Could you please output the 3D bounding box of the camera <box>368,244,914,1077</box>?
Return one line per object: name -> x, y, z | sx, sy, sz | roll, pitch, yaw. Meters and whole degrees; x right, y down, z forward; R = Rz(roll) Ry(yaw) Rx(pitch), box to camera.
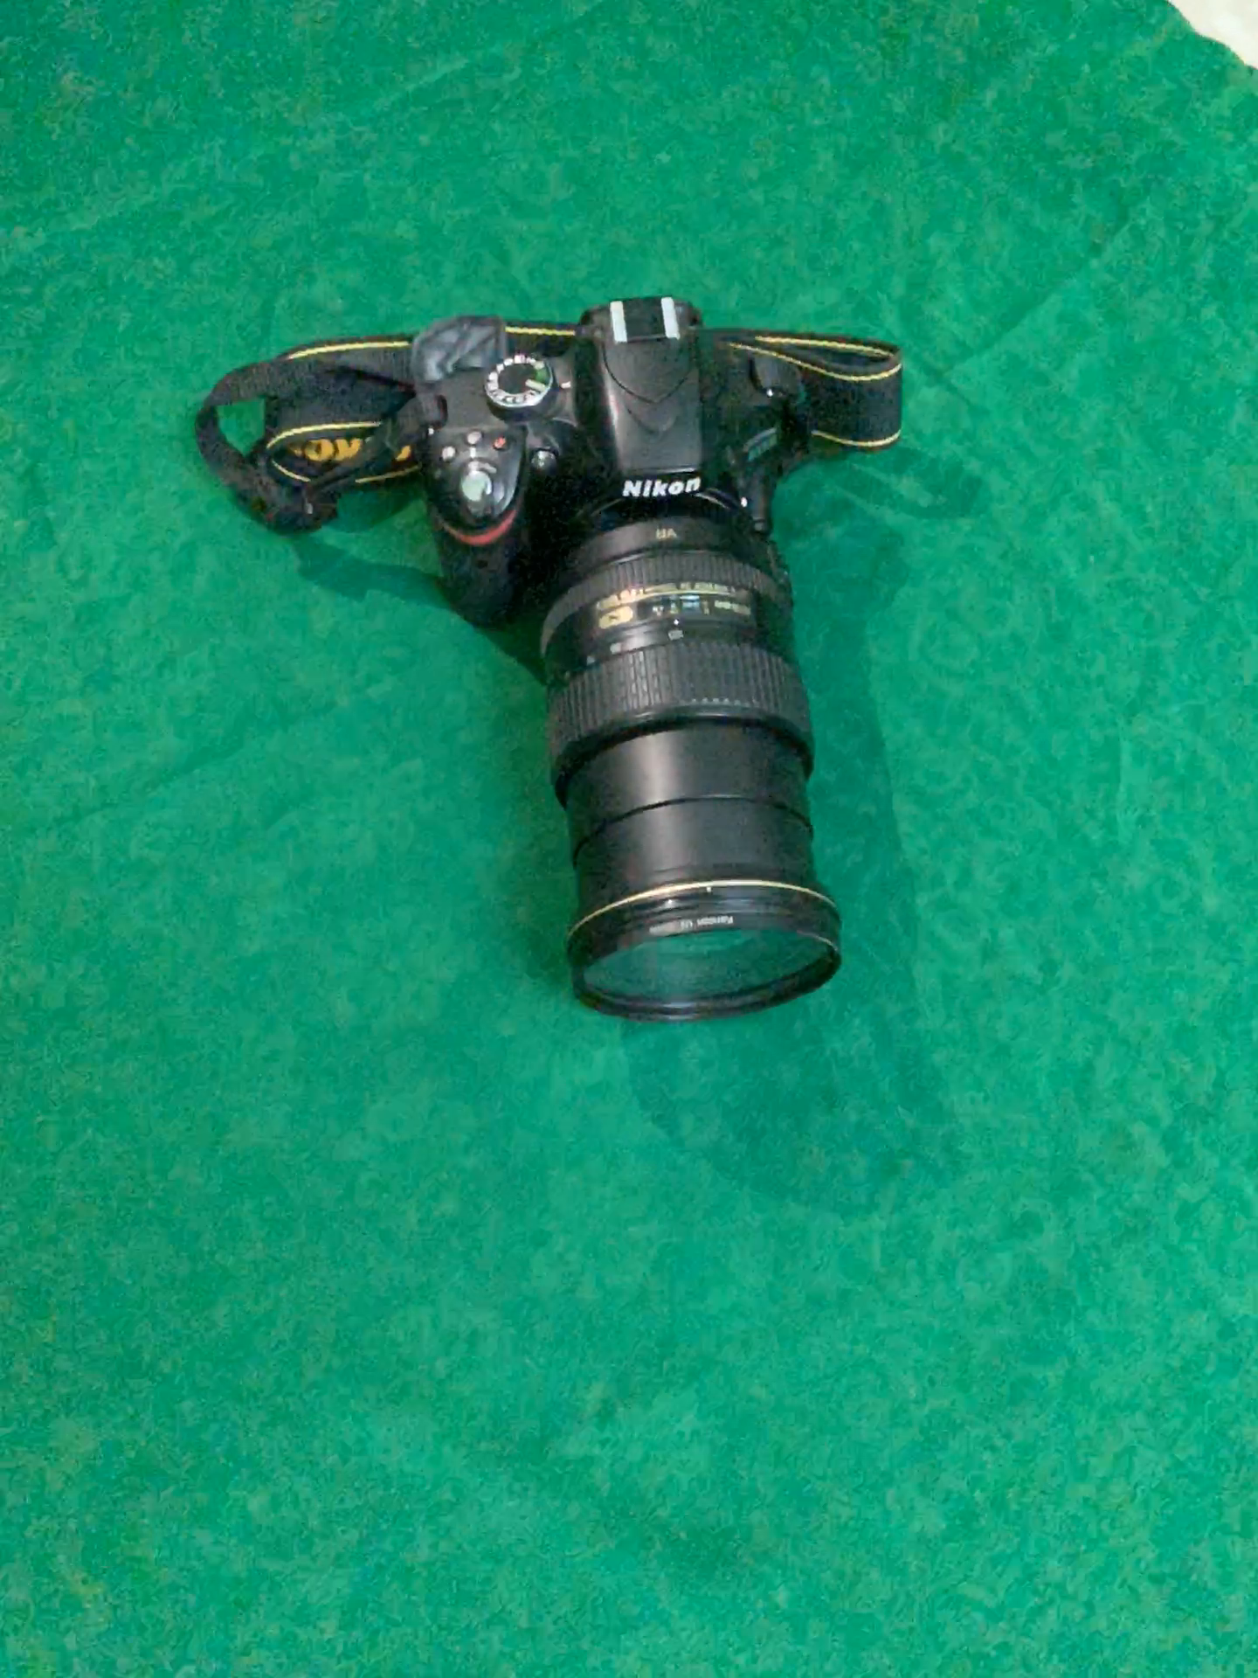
camera -> -0.006, -0.059, 0.403 | 0.122, 0.088, 0.234 | -7, 66, -4
